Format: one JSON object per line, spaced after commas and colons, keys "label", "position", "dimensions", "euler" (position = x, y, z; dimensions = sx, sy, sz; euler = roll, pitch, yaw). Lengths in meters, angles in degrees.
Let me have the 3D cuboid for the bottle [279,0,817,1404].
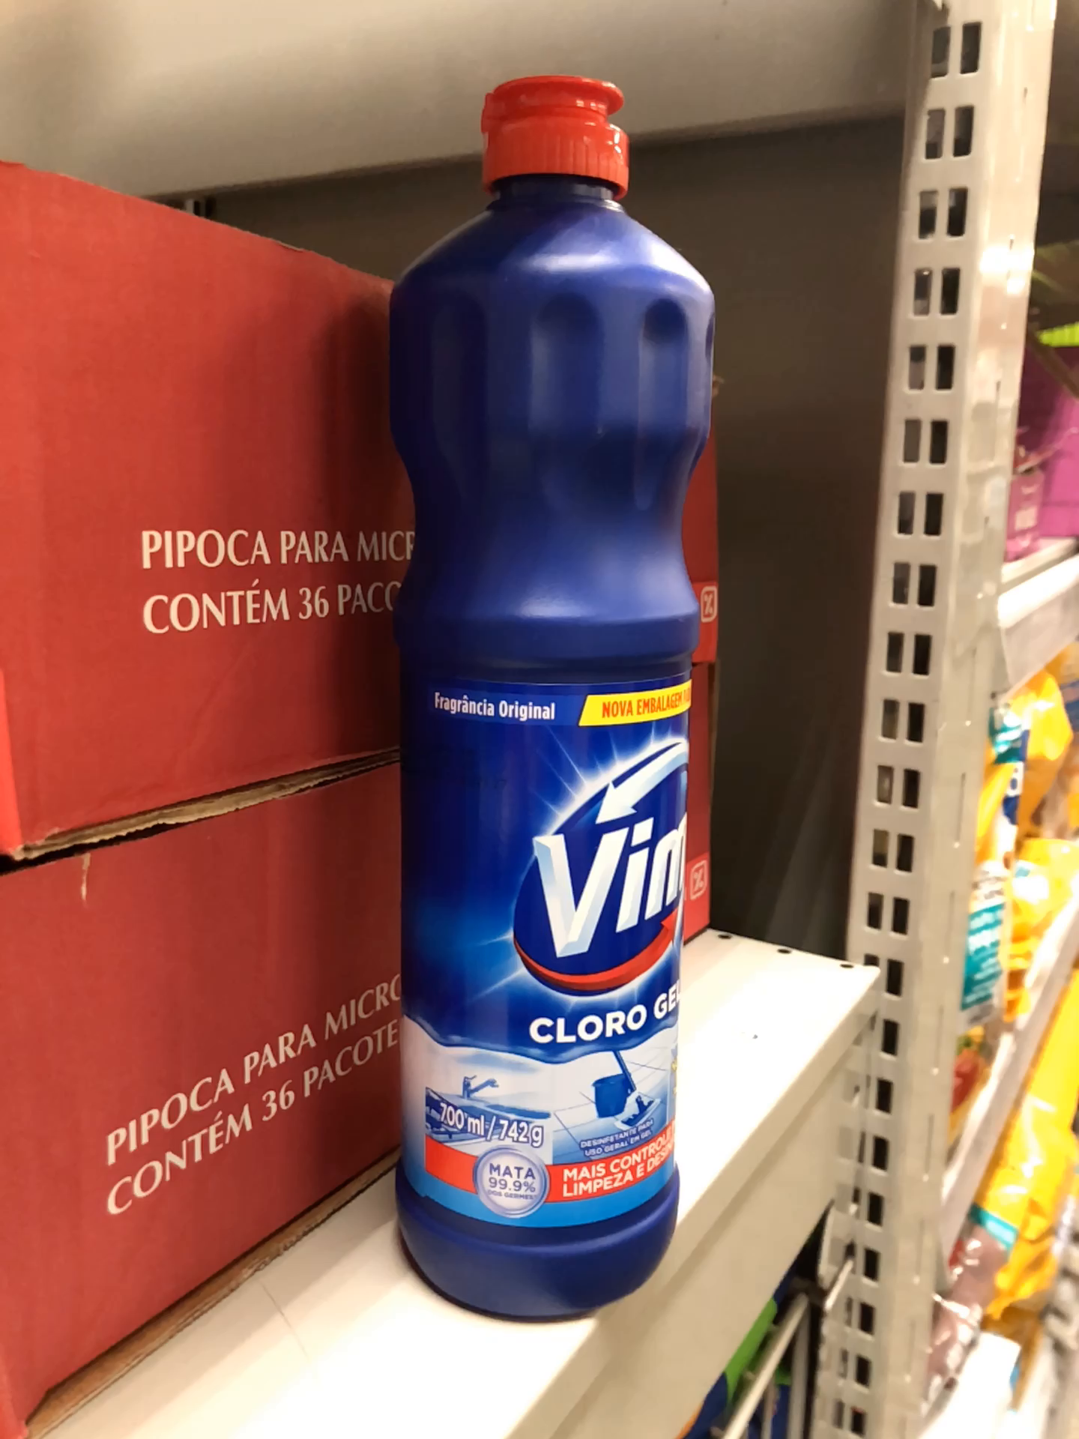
{"label": "bottle", "position": [0.000, -0.003, 0.230], "dimensions": [0.070, 0.229, 0.060], "euler": [-10, 17, -41]}
